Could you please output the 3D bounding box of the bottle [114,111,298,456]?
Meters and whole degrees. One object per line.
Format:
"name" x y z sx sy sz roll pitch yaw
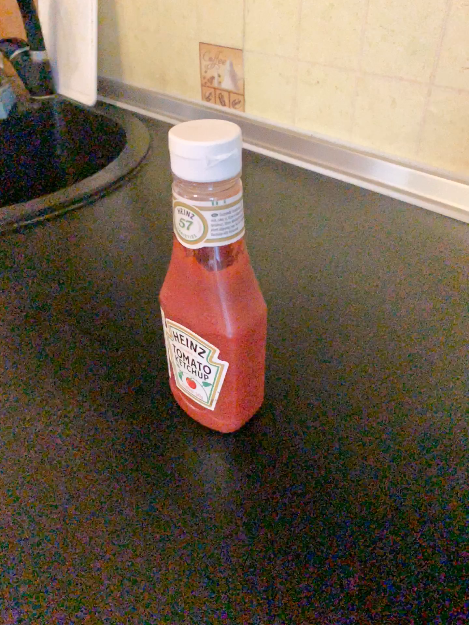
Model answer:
"bottle" -0.013 -0.007 0.284 0.070 0.189 0.050 28 47 31
